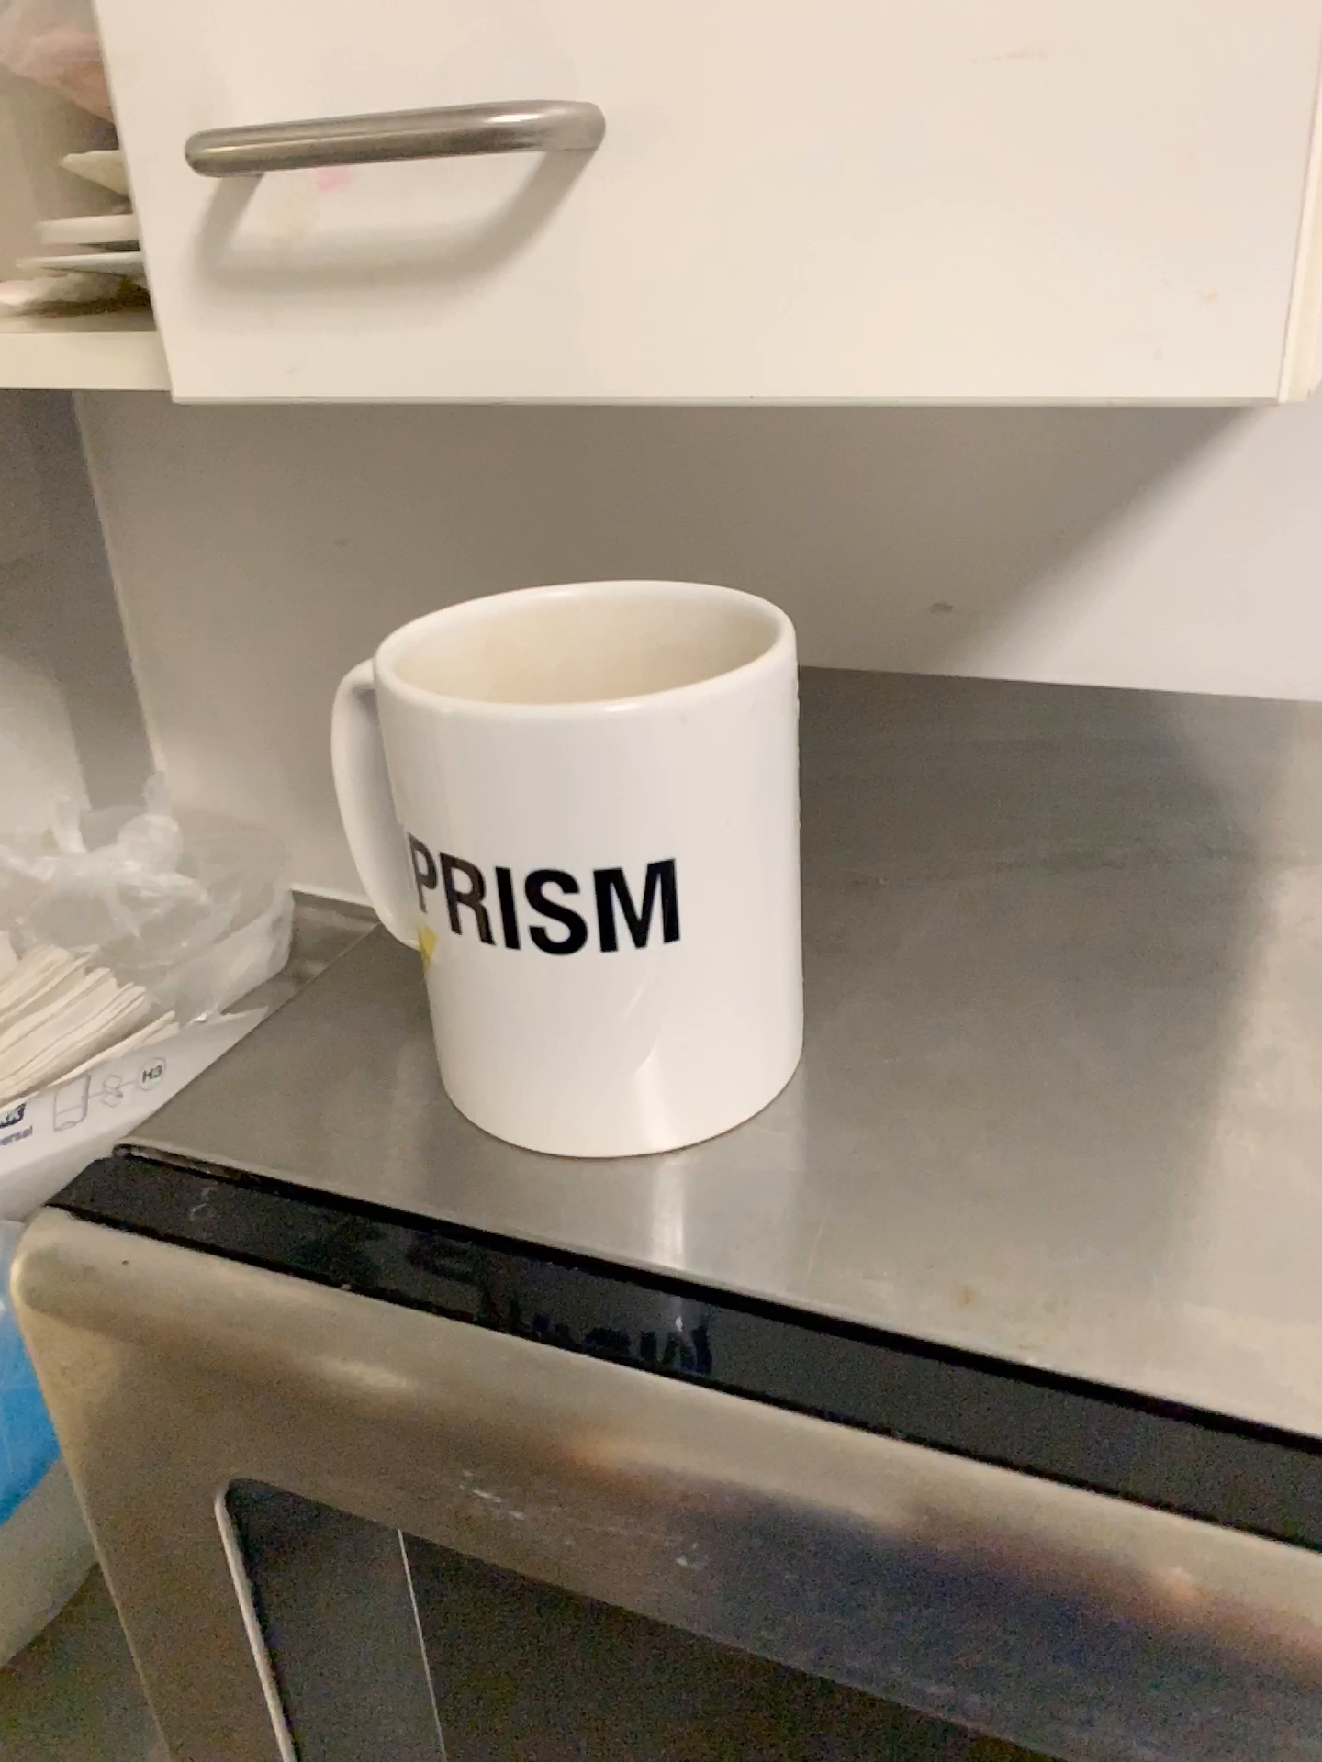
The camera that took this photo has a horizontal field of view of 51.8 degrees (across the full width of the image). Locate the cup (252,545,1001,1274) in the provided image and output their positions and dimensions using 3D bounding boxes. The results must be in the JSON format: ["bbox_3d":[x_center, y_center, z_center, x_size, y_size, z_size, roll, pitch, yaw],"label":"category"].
[{"bbox_3d":[-0.005,-0.006,0.288,0.114,0.099,0.095,17,32,37],"label":"cup"}]
